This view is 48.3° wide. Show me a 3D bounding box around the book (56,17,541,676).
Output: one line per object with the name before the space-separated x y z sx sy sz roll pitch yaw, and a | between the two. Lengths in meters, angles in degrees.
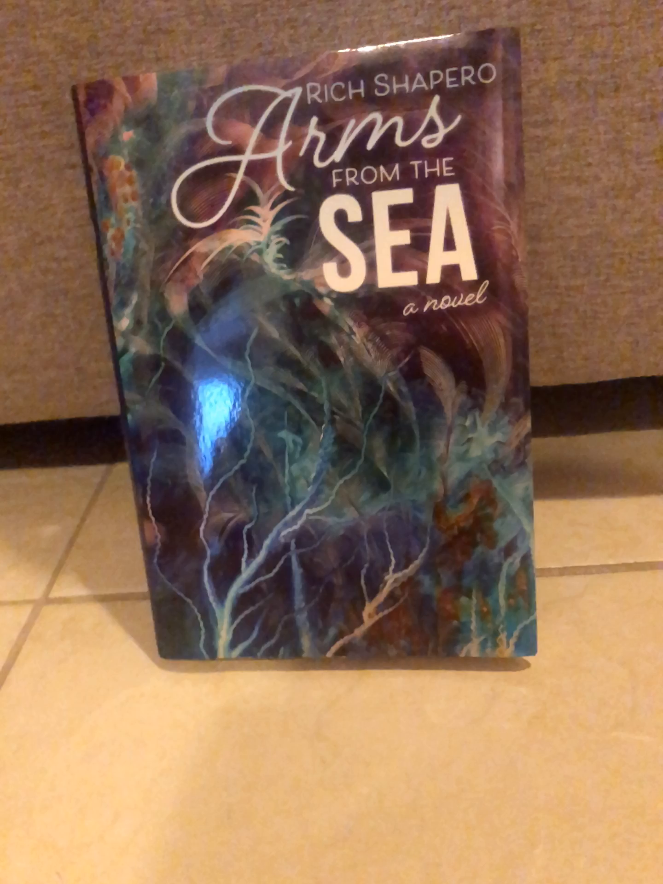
book | -0.006 -0.022 0.283 0.156 0.228 0.030 -3 13 9
